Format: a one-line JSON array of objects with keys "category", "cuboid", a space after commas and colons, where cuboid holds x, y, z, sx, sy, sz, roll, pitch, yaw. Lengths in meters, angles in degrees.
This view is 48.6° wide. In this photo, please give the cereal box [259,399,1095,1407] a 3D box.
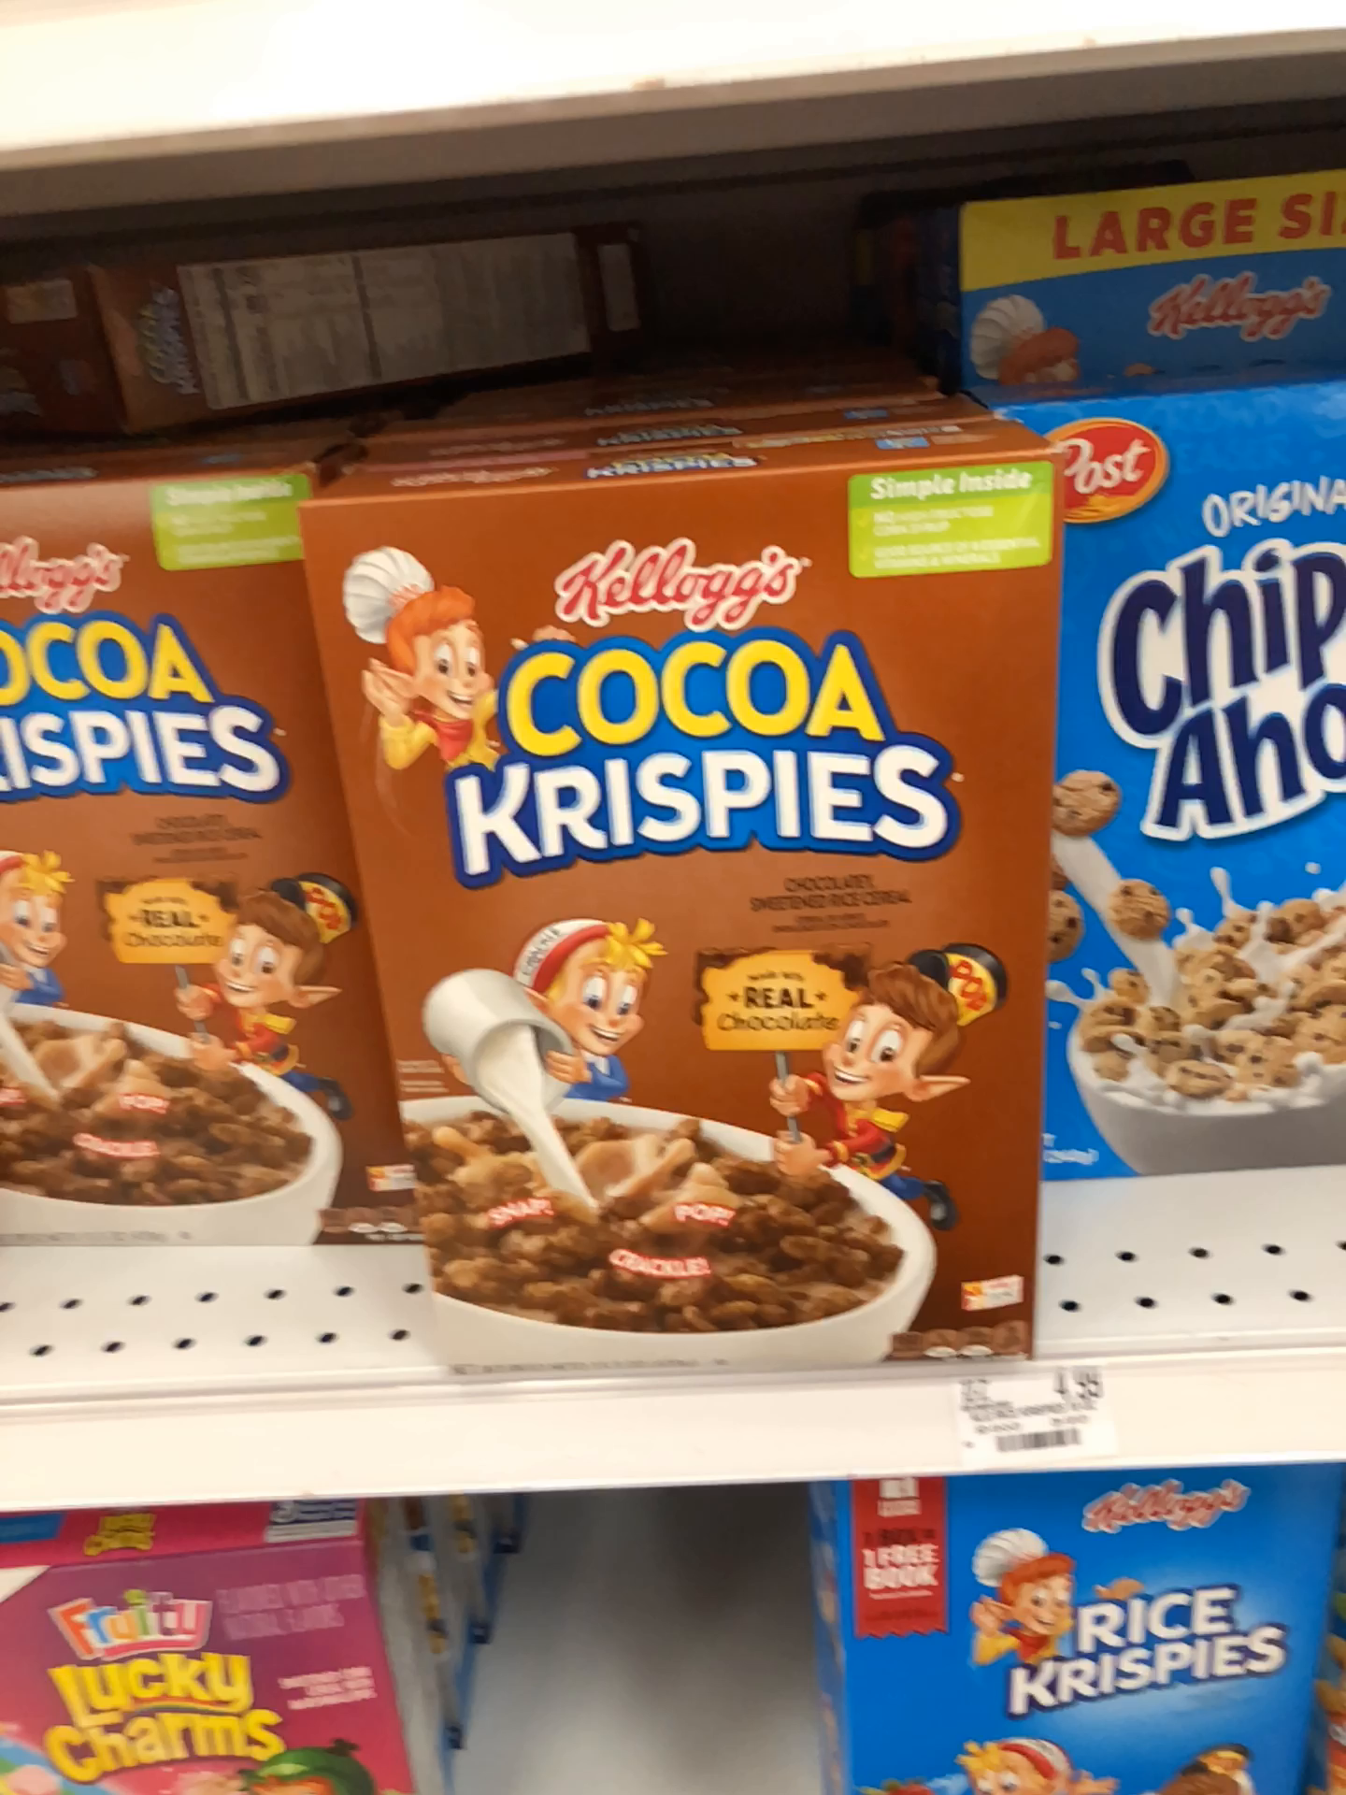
[{"category": "cereal box", "cuboid": [0.011, 0.013, 0.448, 0.200, 0.289, 0.070, -3, 25, 3]}]
